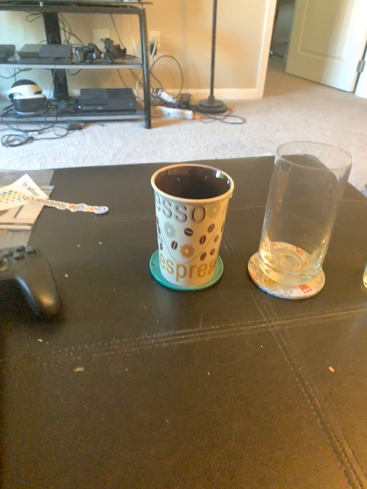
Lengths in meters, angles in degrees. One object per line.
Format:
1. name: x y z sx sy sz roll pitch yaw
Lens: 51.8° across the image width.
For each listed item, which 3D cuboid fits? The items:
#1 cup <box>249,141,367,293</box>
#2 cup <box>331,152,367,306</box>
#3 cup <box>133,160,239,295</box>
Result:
1. cup: 0.119 -0.028 0.394 0.080 0.129 0.081 2 35 -1
2. cup: 0.226 -0.015 0.396 0.080 0.139 0.081 2 35 -1
3. cup: 0.005 -0.021 0.401 0.090 0.099 0.091 2 35 -1
